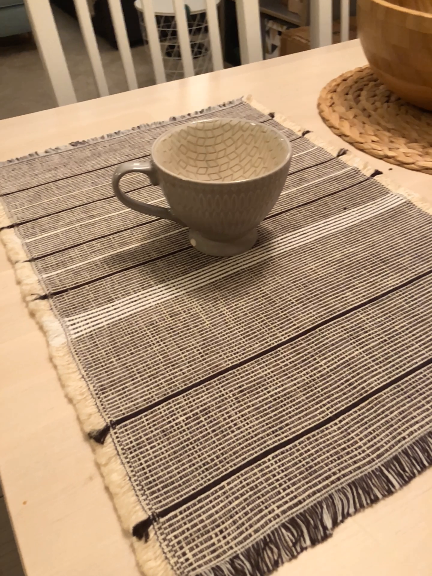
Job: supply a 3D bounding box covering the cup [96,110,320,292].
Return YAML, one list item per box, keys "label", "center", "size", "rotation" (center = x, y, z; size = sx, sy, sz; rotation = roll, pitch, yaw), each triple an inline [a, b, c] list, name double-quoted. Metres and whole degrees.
- label: "cup"
  center: [-0.011, -0.078, 0.398]
  size: [0.150, 0.080, 0.111]
  rotation: [-12, 44, -12]
